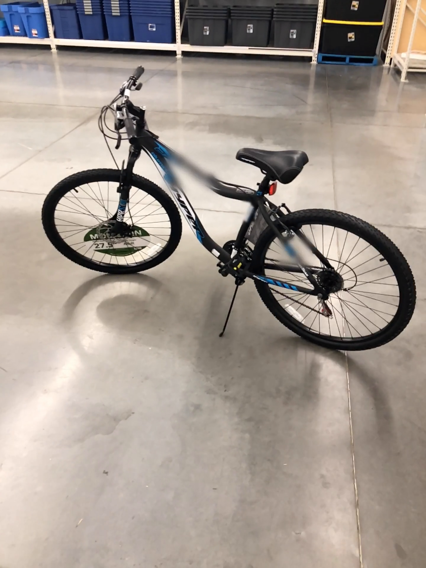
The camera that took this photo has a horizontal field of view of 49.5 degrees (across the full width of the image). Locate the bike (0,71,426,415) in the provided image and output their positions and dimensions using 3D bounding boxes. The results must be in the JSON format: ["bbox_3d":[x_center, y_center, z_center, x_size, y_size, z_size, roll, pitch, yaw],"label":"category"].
[{"bbox_3d":[-0.012,-0.251,1.909,1.635,0.986,0.574,13,36,20],"label":"bike"}]
